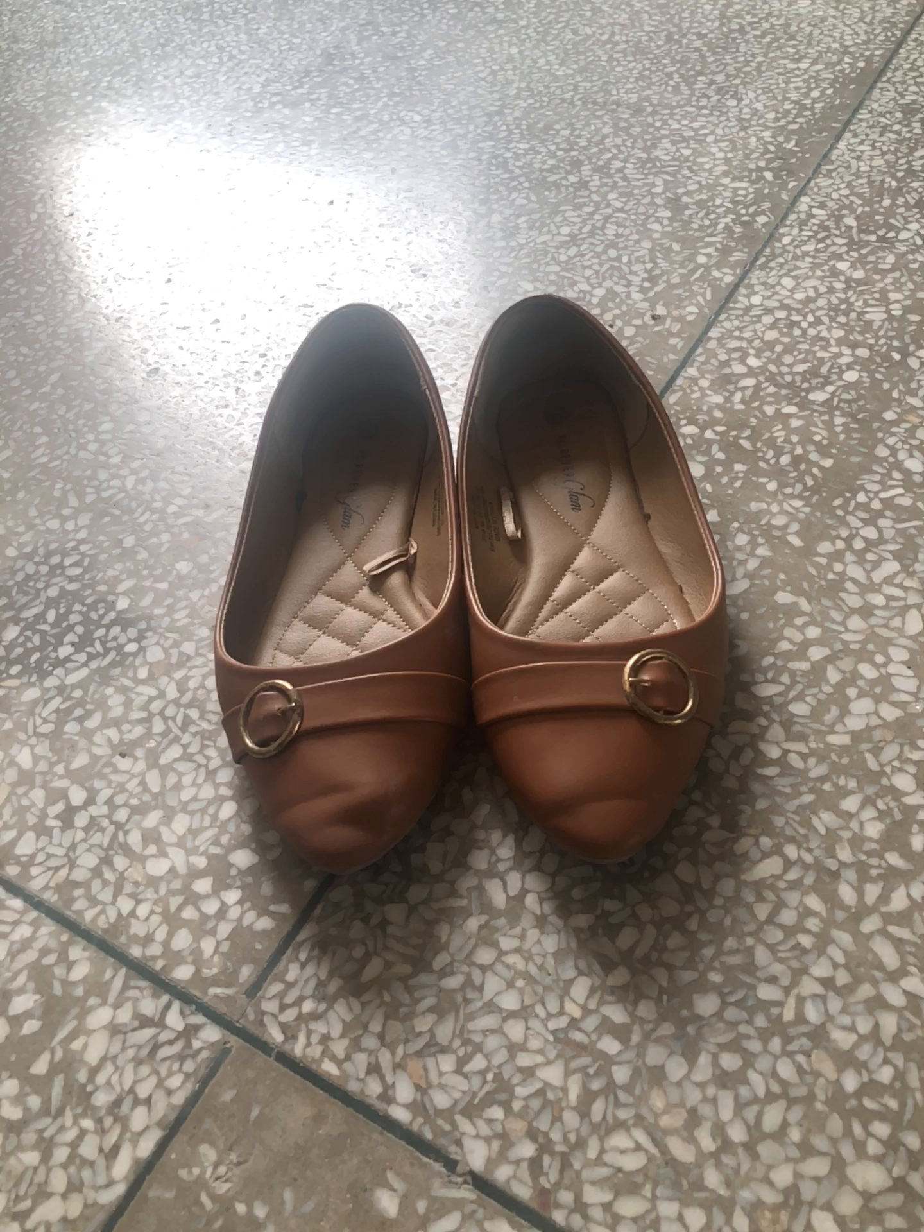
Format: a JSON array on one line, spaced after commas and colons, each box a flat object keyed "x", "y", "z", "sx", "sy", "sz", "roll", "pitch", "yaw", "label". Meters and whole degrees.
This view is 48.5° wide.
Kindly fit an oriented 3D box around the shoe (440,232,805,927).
[{"x": 0.049, "y": -0.024, "z": 0.375, "sx": 0.090, "sy": 0.050, "sz": 0.251, "roll": -9, "pitch": 61, "yaw": 9, "label": "shoe"}]

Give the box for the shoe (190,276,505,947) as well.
[{"x": -0.043, "y": -0.012, "z": 0.391, "sx": 0.090, "sy": 0.050, "sz": 0.251, "roll": -9, "pitch": 61, "yaw": 9, "label": "shoe"}]
